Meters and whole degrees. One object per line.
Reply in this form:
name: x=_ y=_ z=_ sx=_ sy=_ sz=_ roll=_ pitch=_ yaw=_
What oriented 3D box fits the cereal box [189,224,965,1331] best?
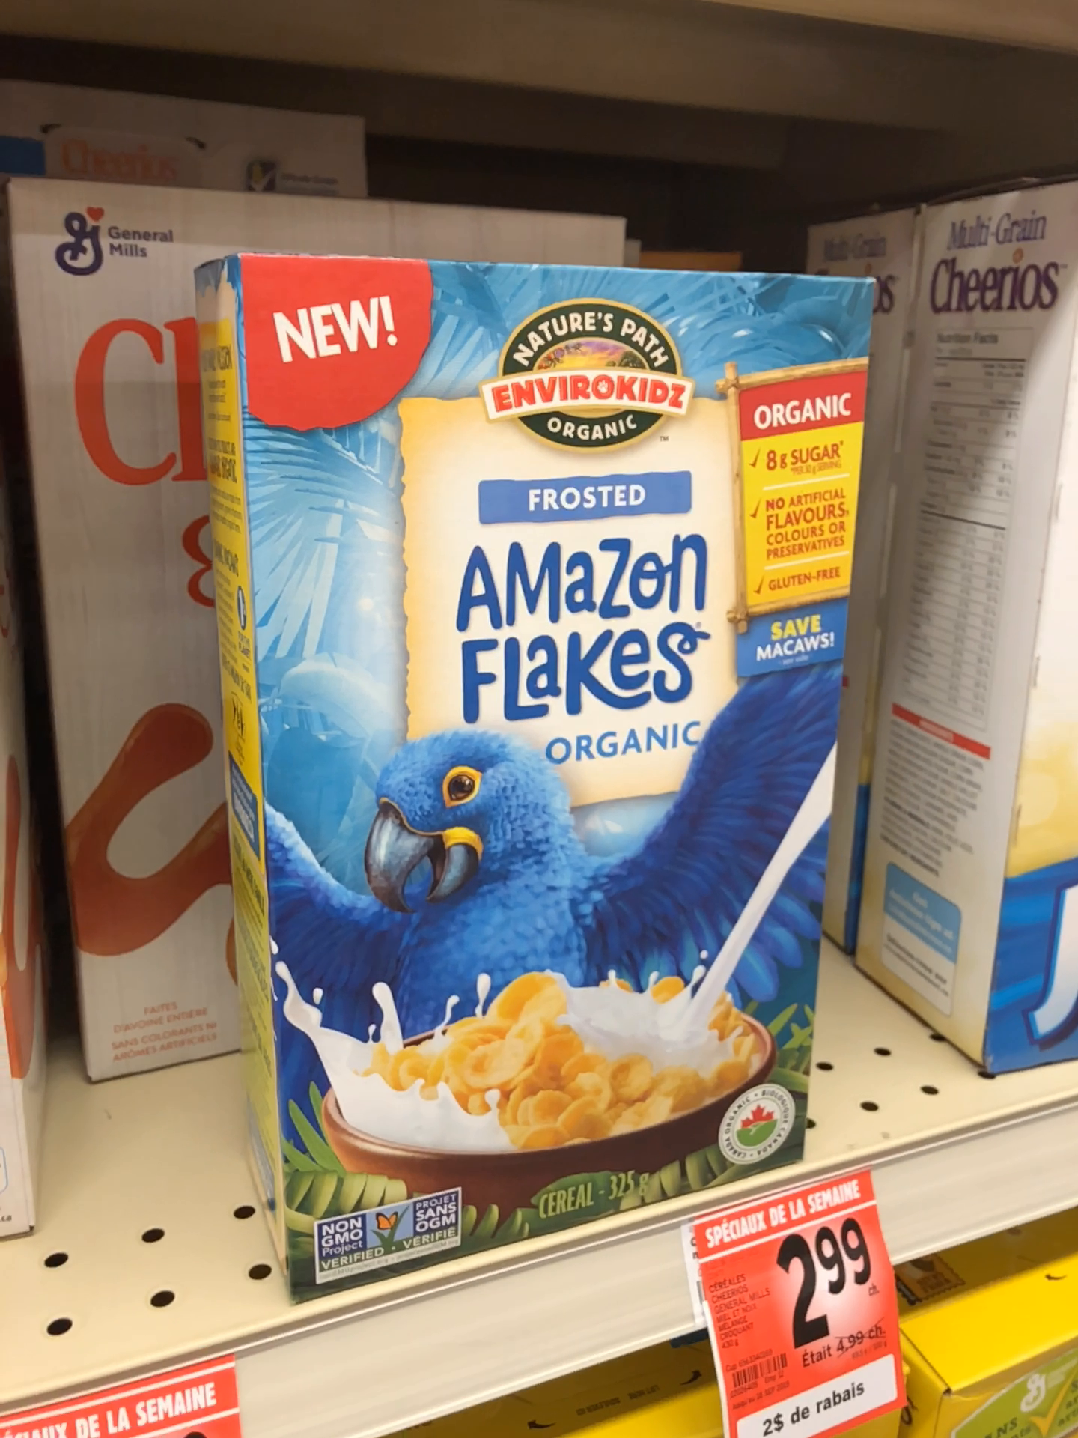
cereal box: x=0.009 y=0.013 z=0.307 sx=0.170 sy=0.249 sz=0.050 roll=-6 pitch=19 yaw=-22
